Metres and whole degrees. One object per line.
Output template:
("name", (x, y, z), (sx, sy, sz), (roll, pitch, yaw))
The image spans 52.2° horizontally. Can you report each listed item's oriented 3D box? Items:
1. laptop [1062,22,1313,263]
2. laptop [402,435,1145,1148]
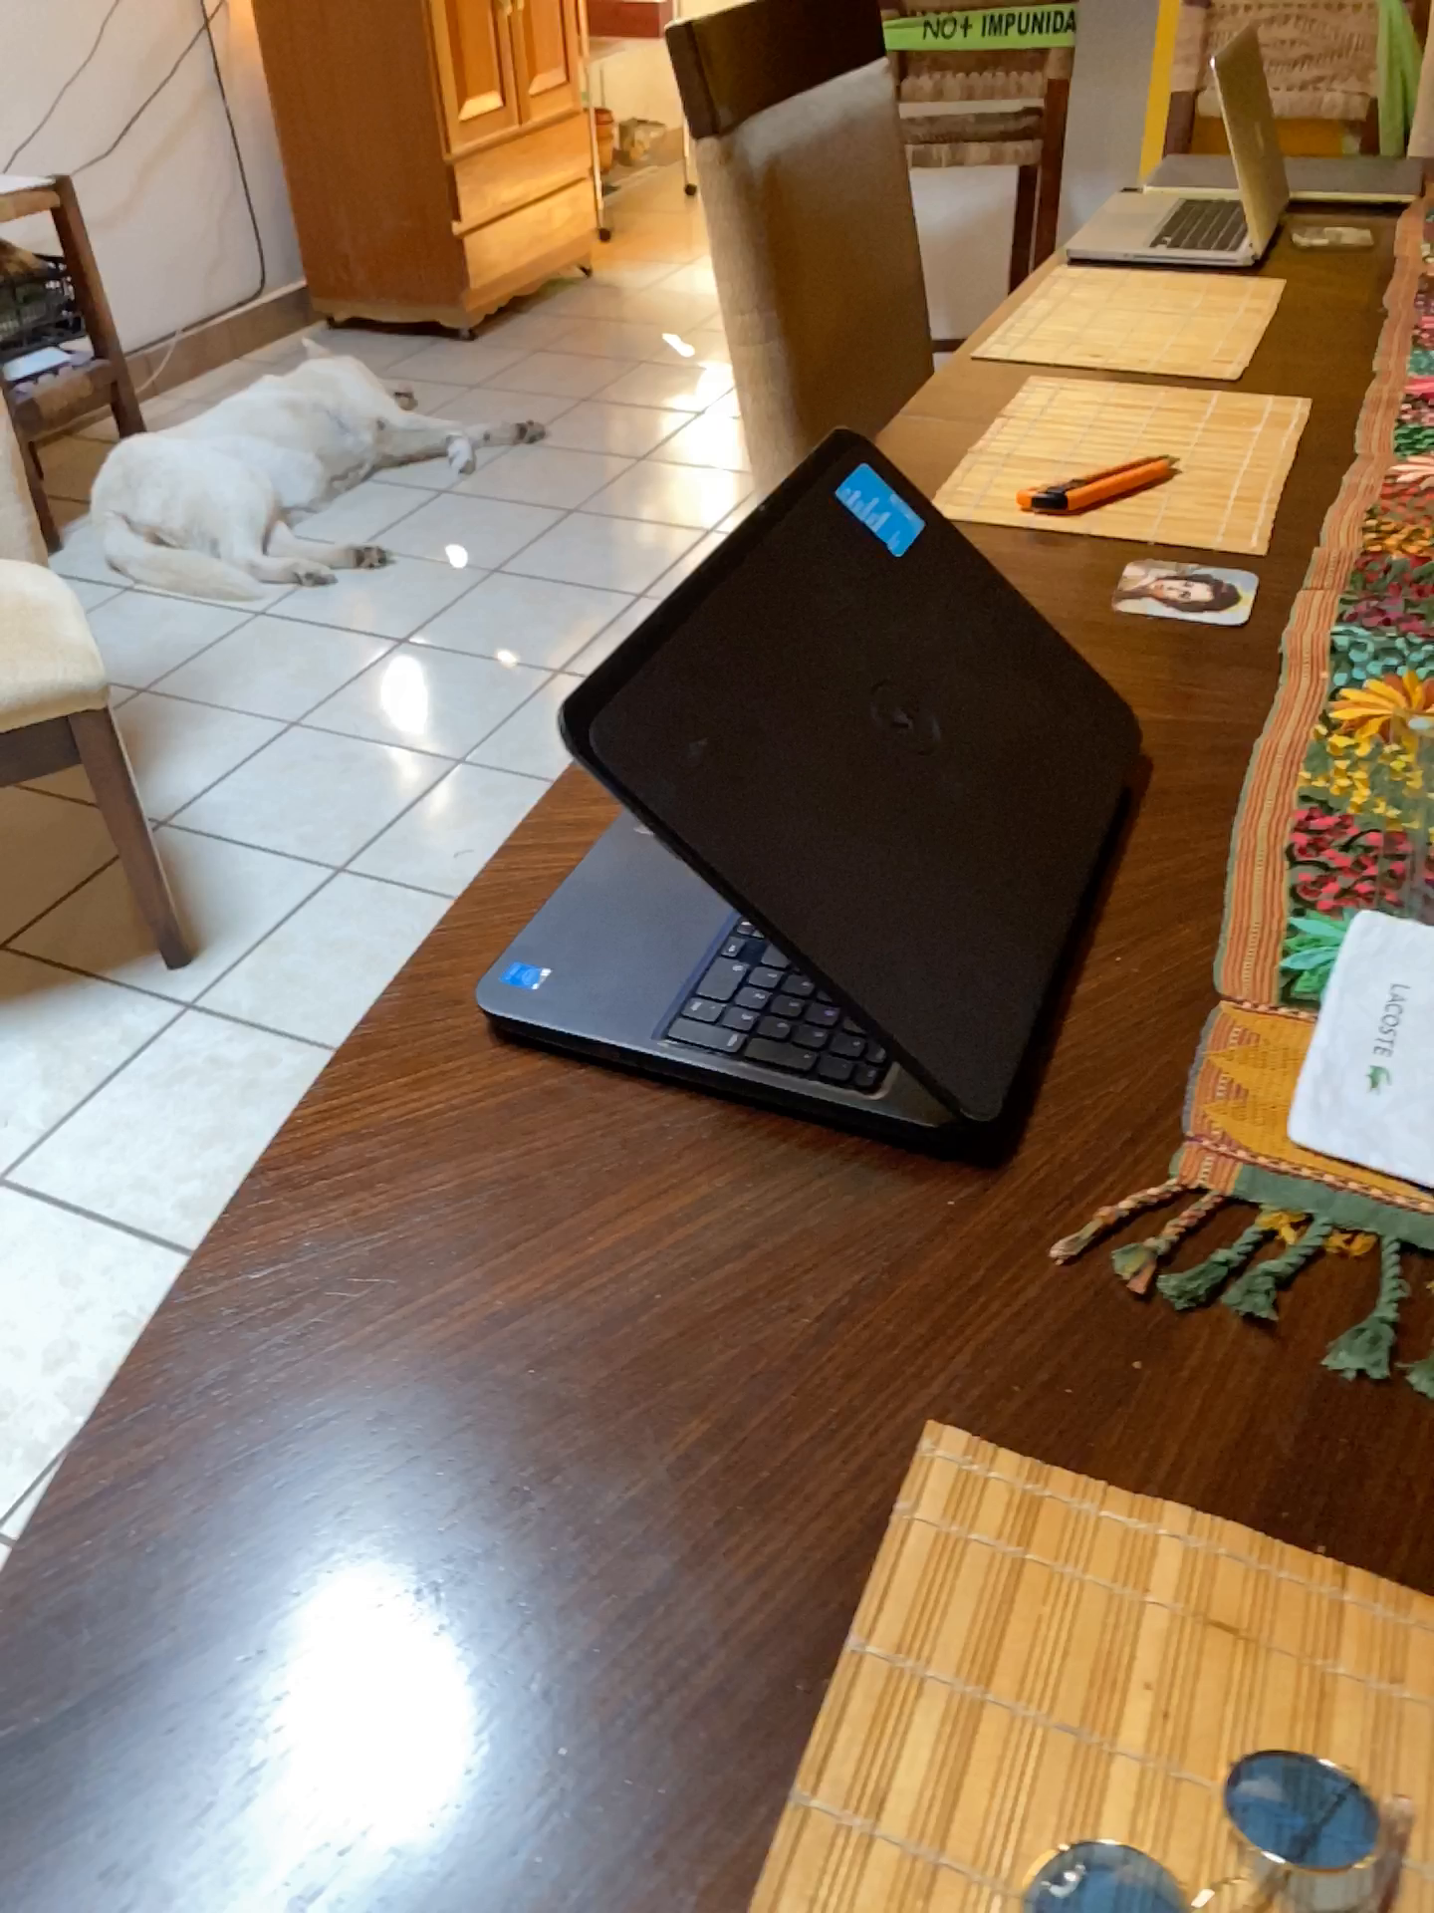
("laptop", (0.597, -1.032, 1.847), (0.221, 0.207, 0.373), (12, 40, 18))
("laptop", (0.052, -0.114, 0.746), (0.248, 0.158, 0.358), (13, 41, 19))
